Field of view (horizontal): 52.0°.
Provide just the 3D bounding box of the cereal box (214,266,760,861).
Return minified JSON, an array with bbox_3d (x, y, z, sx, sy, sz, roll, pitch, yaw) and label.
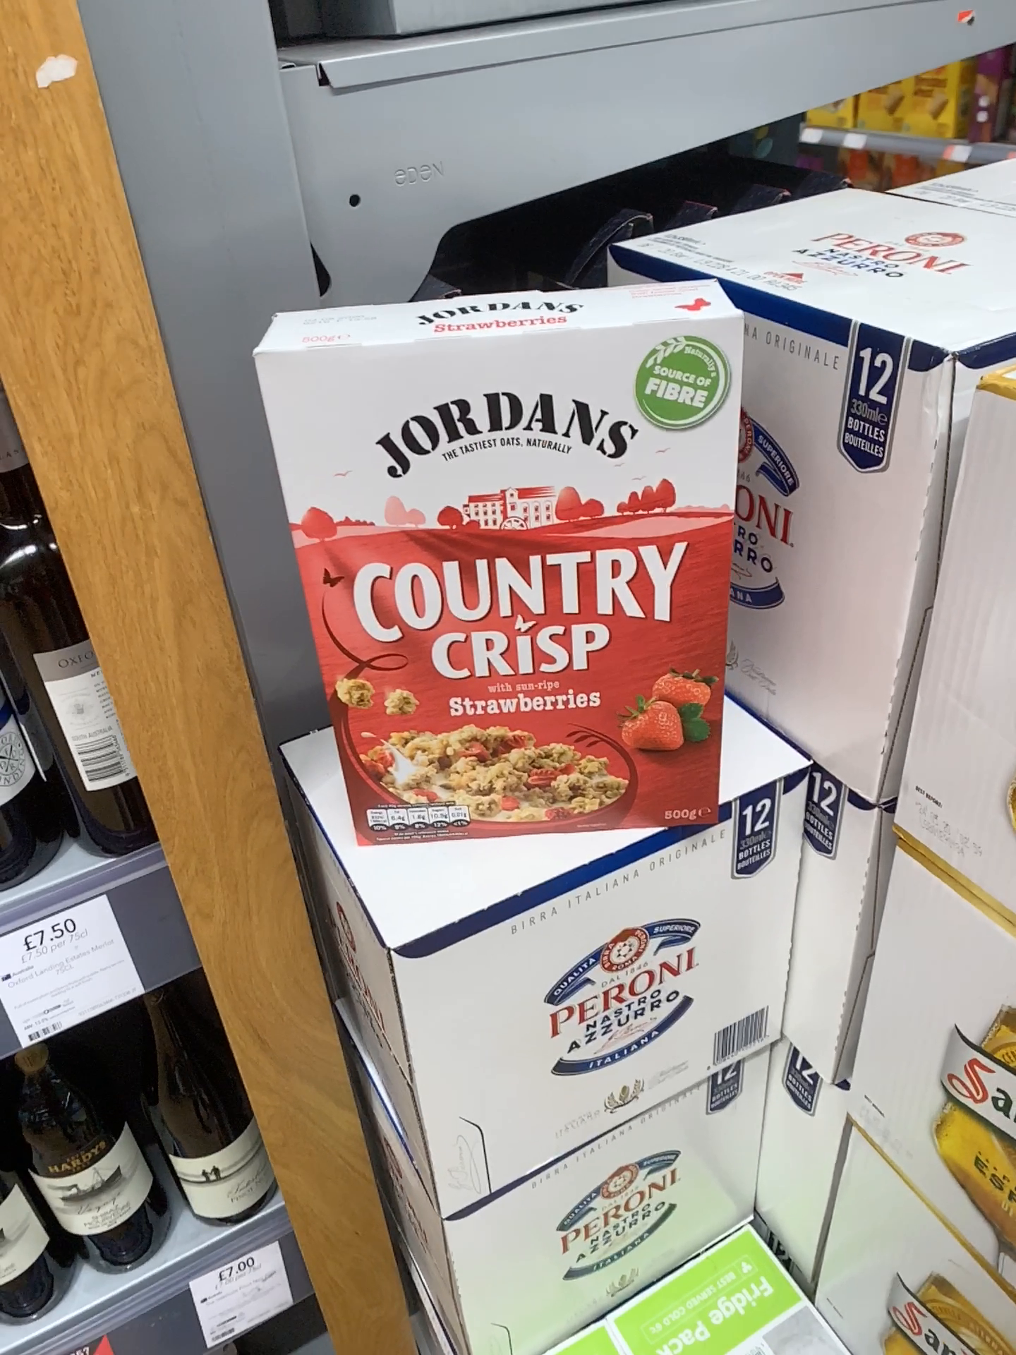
[{"bbox_3d":[0.001,-0.034,0.451,0.190,0.248,0.050,-4,34,2],"label":"cereal box"}]
